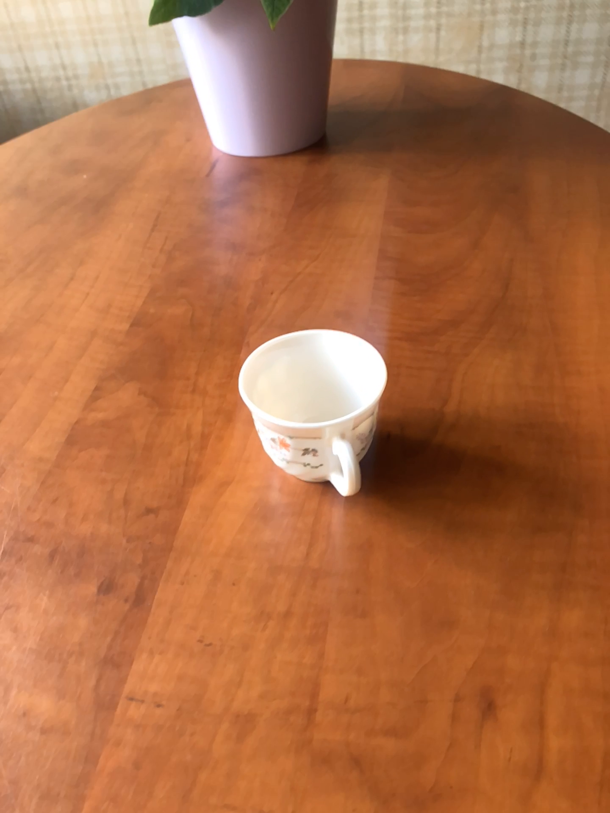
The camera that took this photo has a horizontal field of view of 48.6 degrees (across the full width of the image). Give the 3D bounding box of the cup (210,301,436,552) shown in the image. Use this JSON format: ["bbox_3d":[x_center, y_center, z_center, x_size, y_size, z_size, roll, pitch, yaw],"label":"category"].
[{"bbox_3d":[0.005,0.005,0.285,0.063,0.048,0.084,-18,43,-13],"label":"cup"}]
